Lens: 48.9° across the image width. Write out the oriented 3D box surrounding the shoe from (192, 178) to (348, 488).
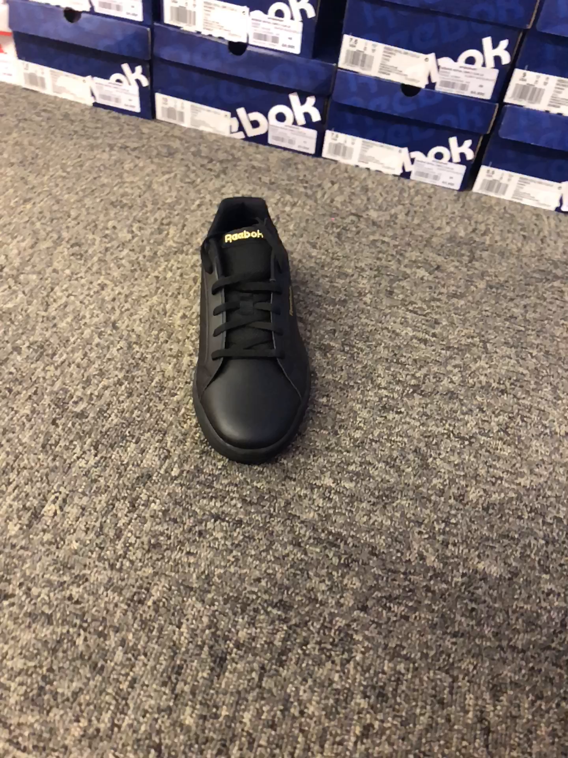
[{"bbox_3d":[-0.020,-0.049,0.510,0.098,0.089,0.261,2,49,-7],"label":"shoe"}]
